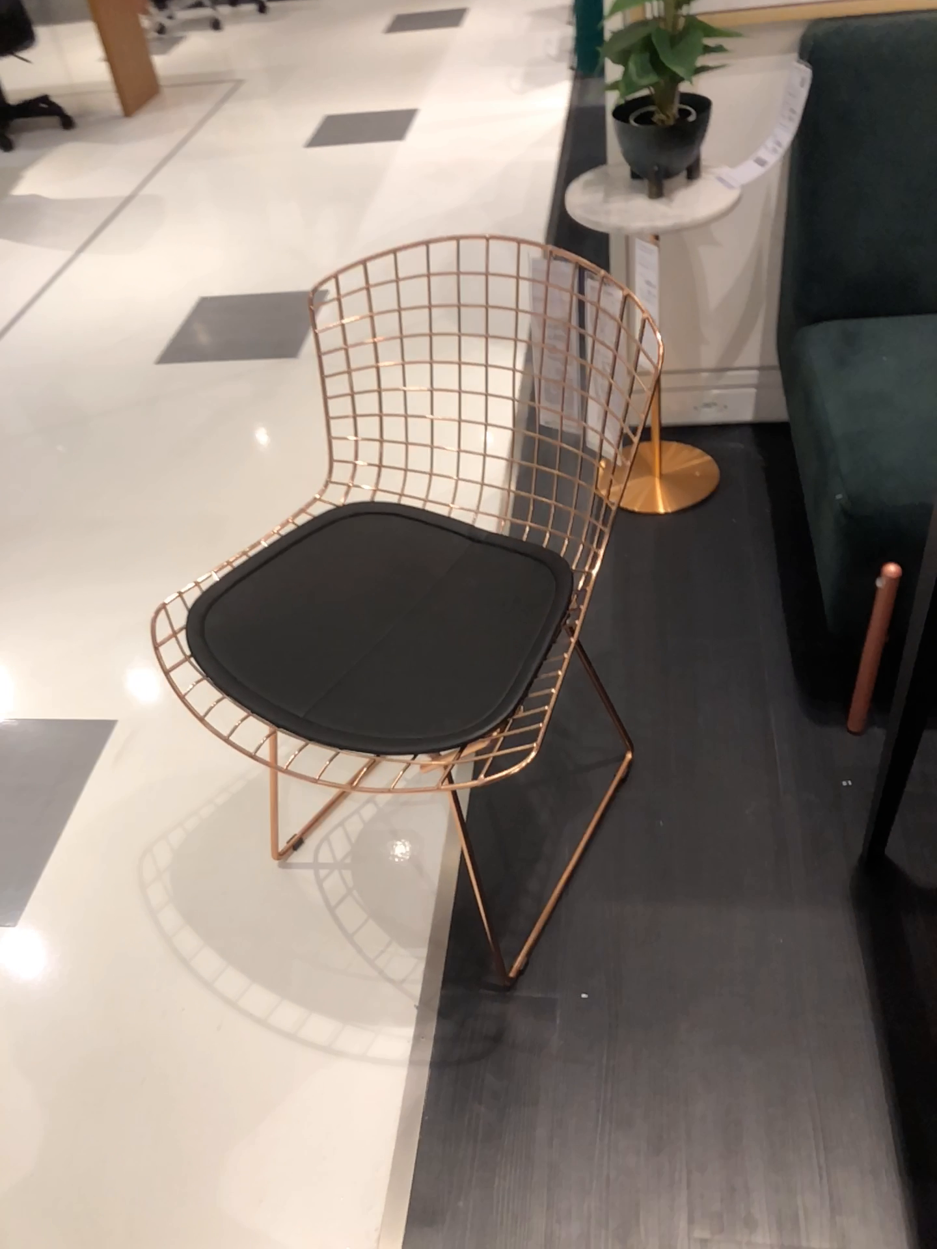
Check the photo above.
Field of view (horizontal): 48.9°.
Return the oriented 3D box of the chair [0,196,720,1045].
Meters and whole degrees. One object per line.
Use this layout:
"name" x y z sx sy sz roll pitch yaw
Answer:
"chair" -0.061 -0.018 1.249 0.521 0.744 0.543 18 48 27
